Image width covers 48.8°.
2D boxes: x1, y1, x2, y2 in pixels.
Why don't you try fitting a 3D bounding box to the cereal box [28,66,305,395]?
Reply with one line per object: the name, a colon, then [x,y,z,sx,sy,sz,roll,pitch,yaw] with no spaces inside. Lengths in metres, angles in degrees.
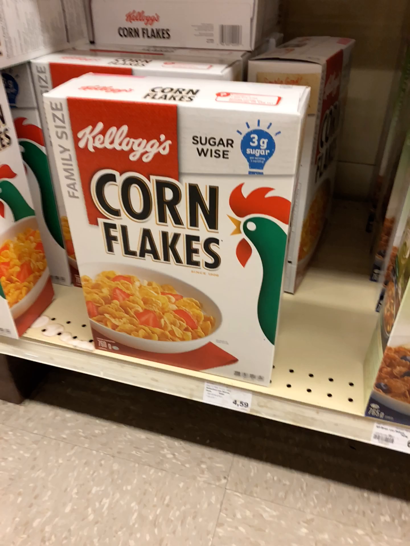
cereal box: [-0.037,-0.040,0.579,0.270,0.387,0.101,8,35,12]
